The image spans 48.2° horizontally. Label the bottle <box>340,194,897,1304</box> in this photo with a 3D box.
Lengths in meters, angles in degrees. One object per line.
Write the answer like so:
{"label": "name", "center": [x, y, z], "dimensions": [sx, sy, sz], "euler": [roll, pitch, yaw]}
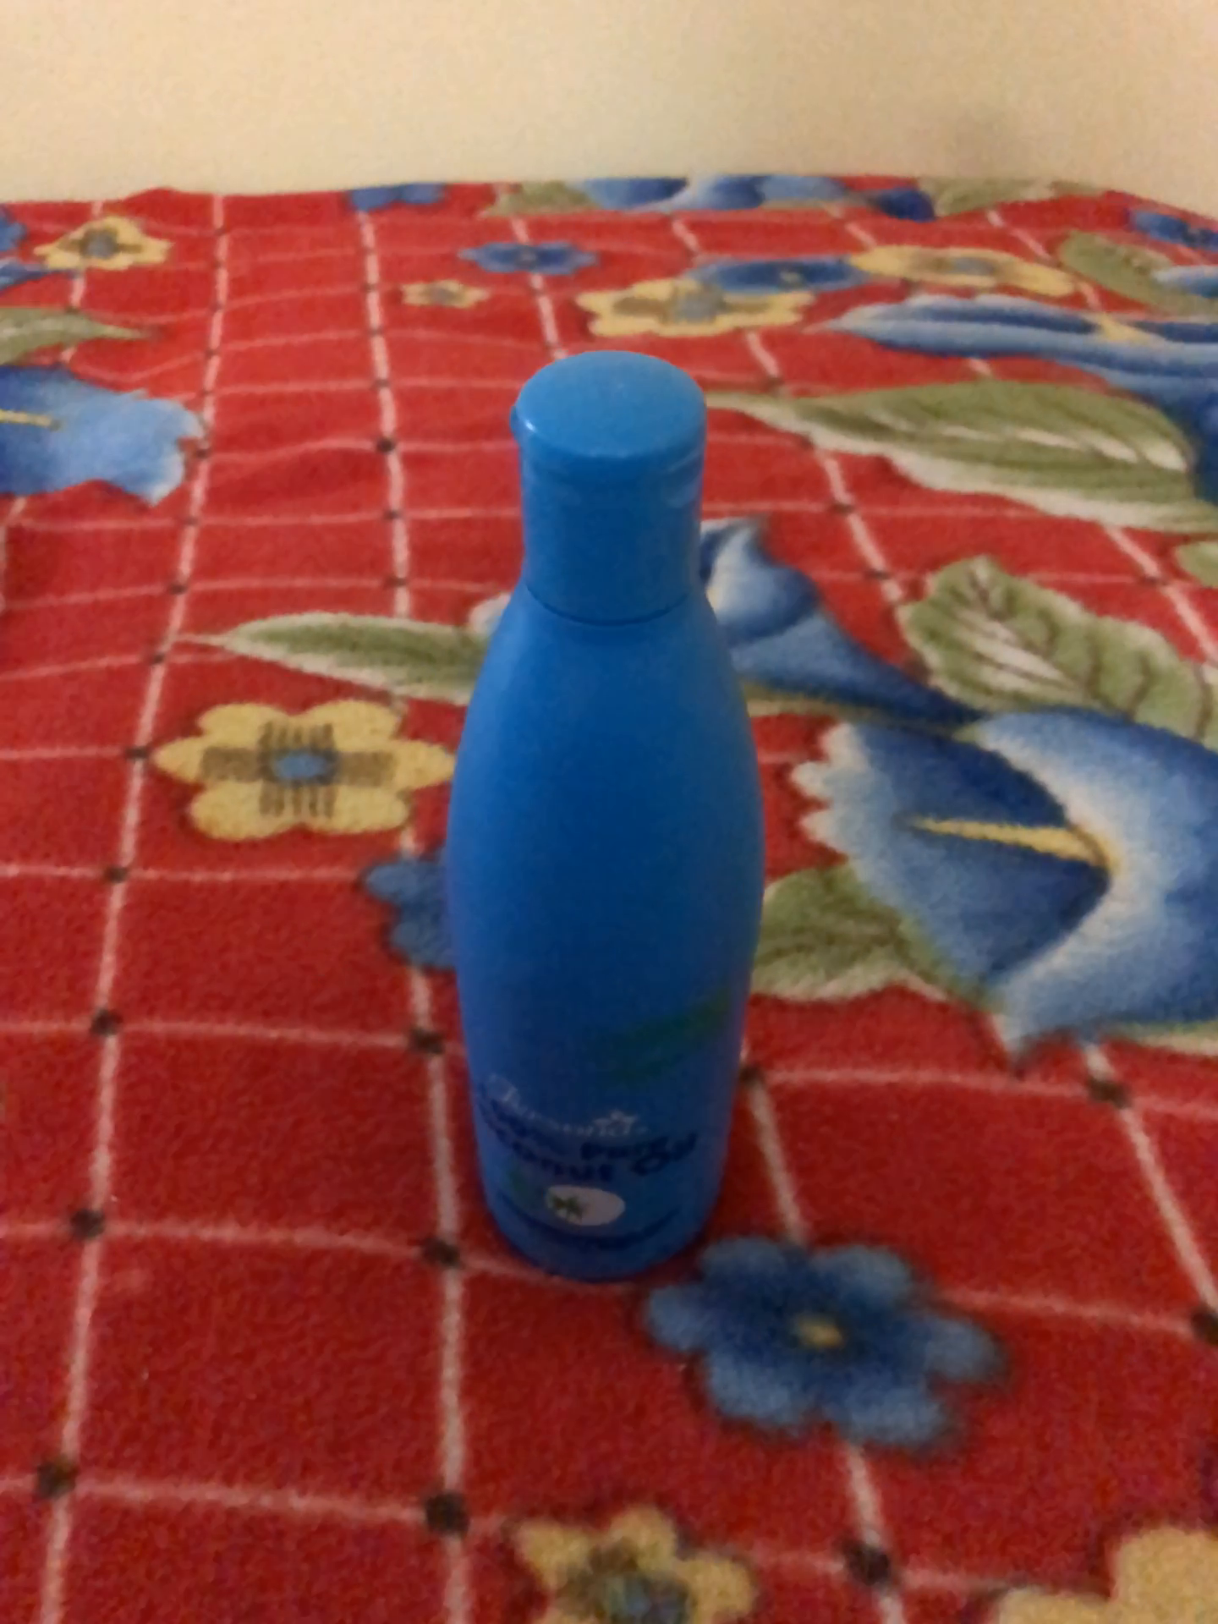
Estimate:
{"label": "bottle", "center": [0.005, 0.008, 0.277], "dimensions": [0.070, 0.230, 0.070], "euler": [0, 44, 0]}
